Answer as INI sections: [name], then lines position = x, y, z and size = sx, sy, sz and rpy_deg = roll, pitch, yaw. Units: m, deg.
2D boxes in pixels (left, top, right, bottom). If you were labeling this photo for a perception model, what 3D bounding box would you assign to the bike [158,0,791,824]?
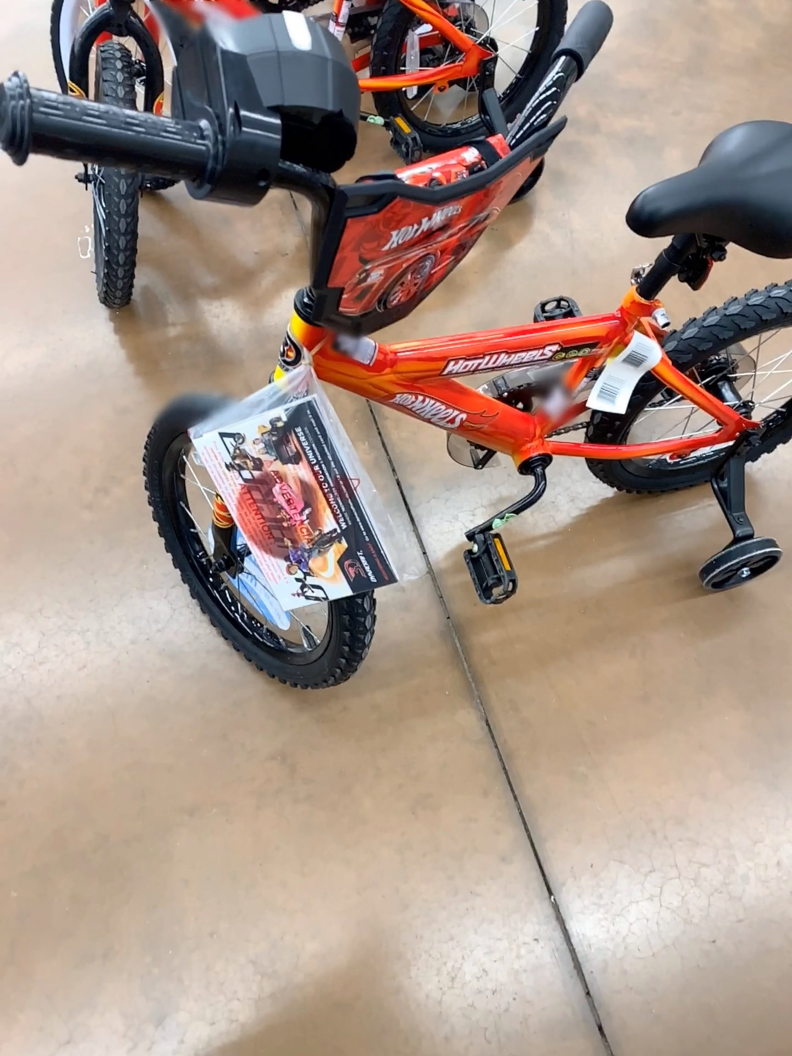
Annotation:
[bike]
position = 0.224, -0.167, 0.944
size = 0.740, 0.825, 0.511
rpy_deg = -27, 64, -8
